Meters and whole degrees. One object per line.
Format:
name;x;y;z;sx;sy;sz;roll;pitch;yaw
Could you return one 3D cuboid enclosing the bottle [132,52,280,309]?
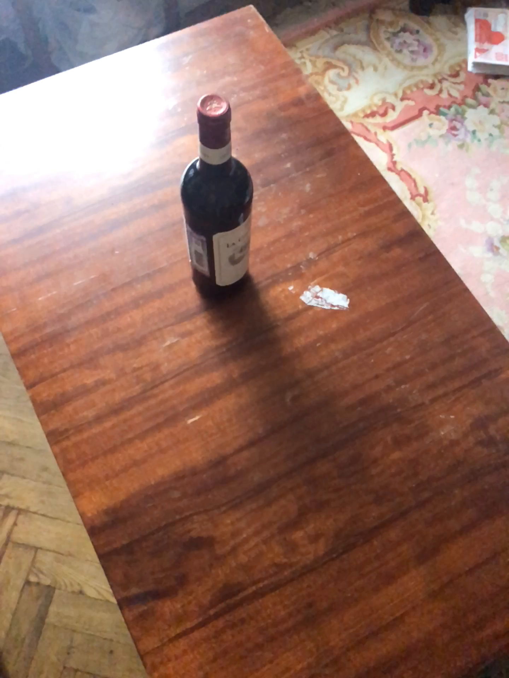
bottle;-0.040;-0.140;0.580;0.090;0.269;0.090;0;69;-1
